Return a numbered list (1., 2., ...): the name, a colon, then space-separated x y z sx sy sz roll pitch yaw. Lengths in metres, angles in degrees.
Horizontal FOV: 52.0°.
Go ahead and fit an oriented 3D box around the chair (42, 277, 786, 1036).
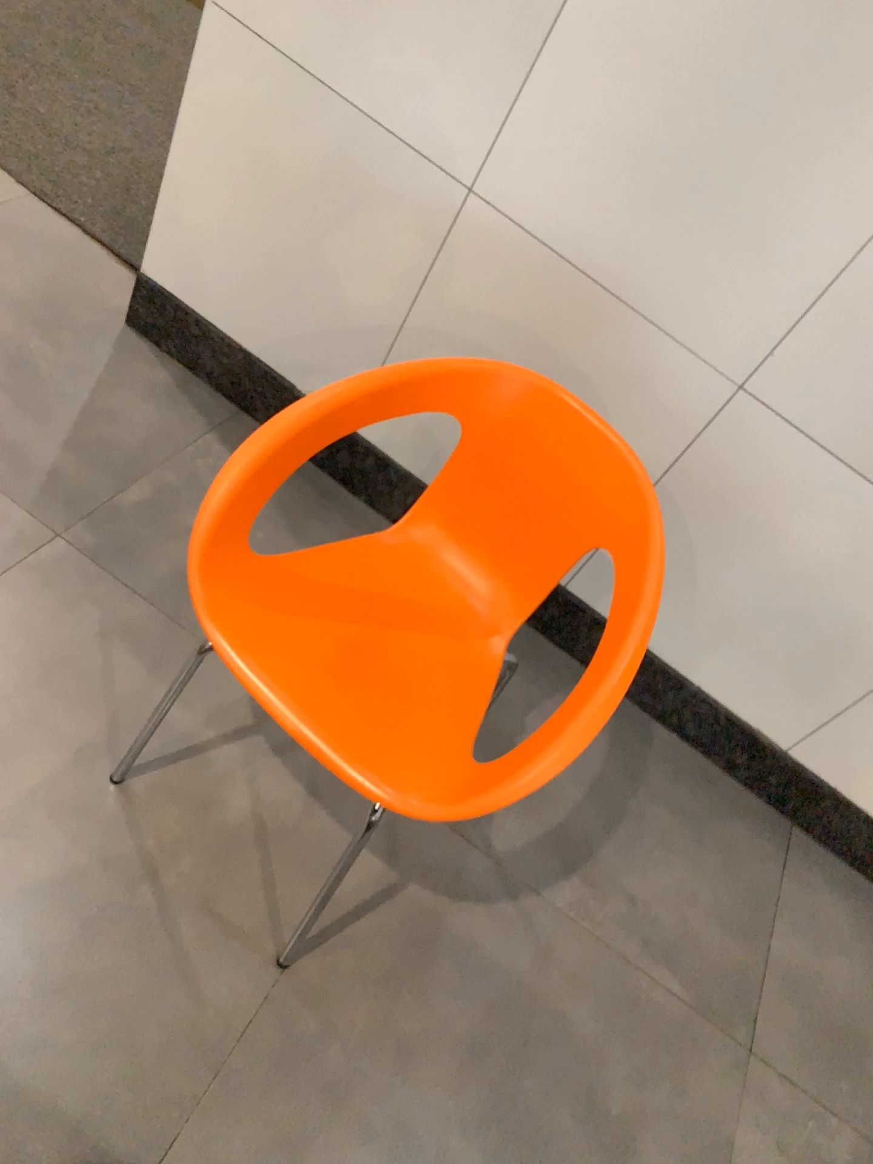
1. chair: -0.051 0.085 1.336 0.661 0.665 0.645 43 43 9
